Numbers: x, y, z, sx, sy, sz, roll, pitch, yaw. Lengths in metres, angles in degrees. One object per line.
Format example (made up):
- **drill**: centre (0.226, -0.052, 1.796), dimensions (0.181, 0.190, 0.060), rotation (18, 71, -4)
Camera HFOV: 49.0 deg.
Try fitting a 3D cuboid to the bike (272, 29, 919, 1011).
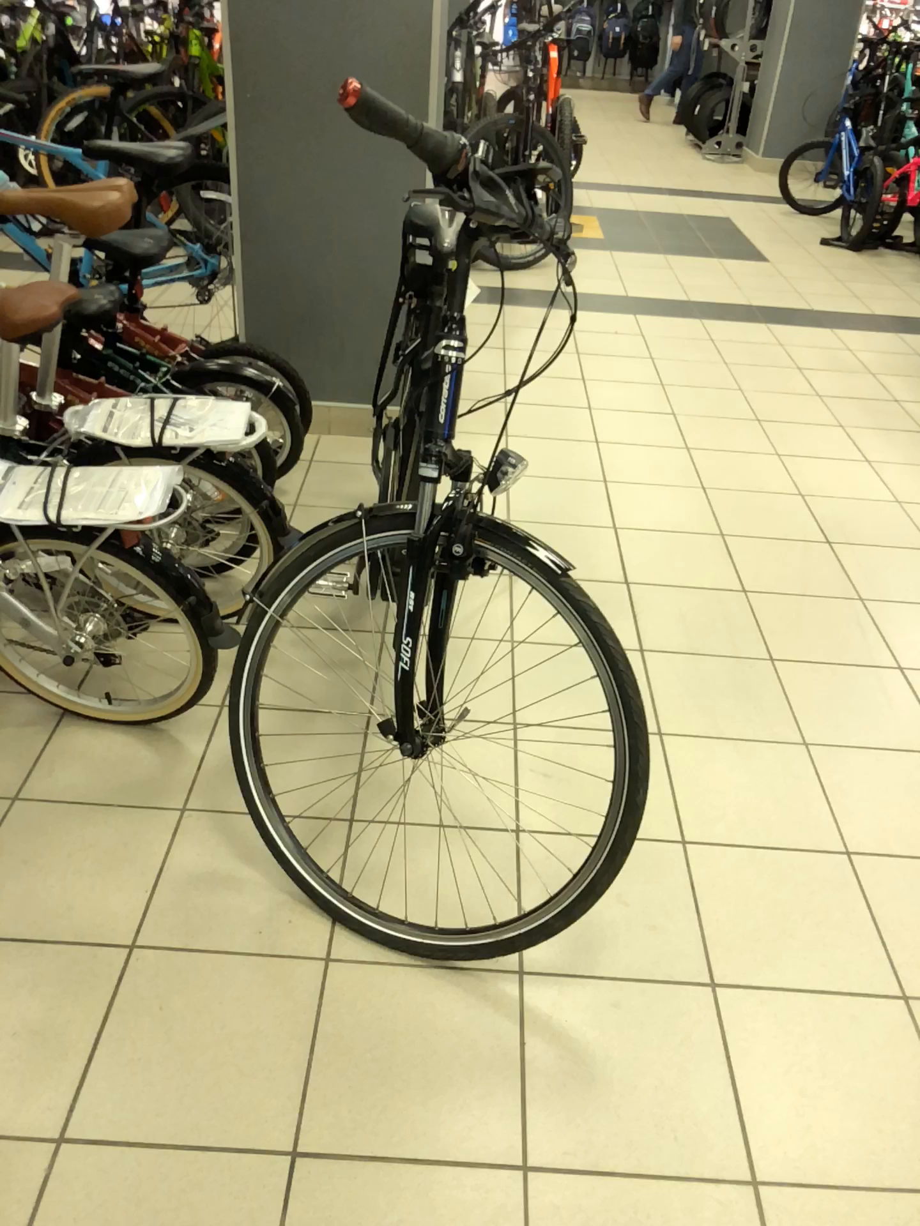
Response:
- **bike**: centre (0.070, -0.349, 1.973), dimensions (0.696, 1.176, 1.620), rotation (-4, 35, -13)
